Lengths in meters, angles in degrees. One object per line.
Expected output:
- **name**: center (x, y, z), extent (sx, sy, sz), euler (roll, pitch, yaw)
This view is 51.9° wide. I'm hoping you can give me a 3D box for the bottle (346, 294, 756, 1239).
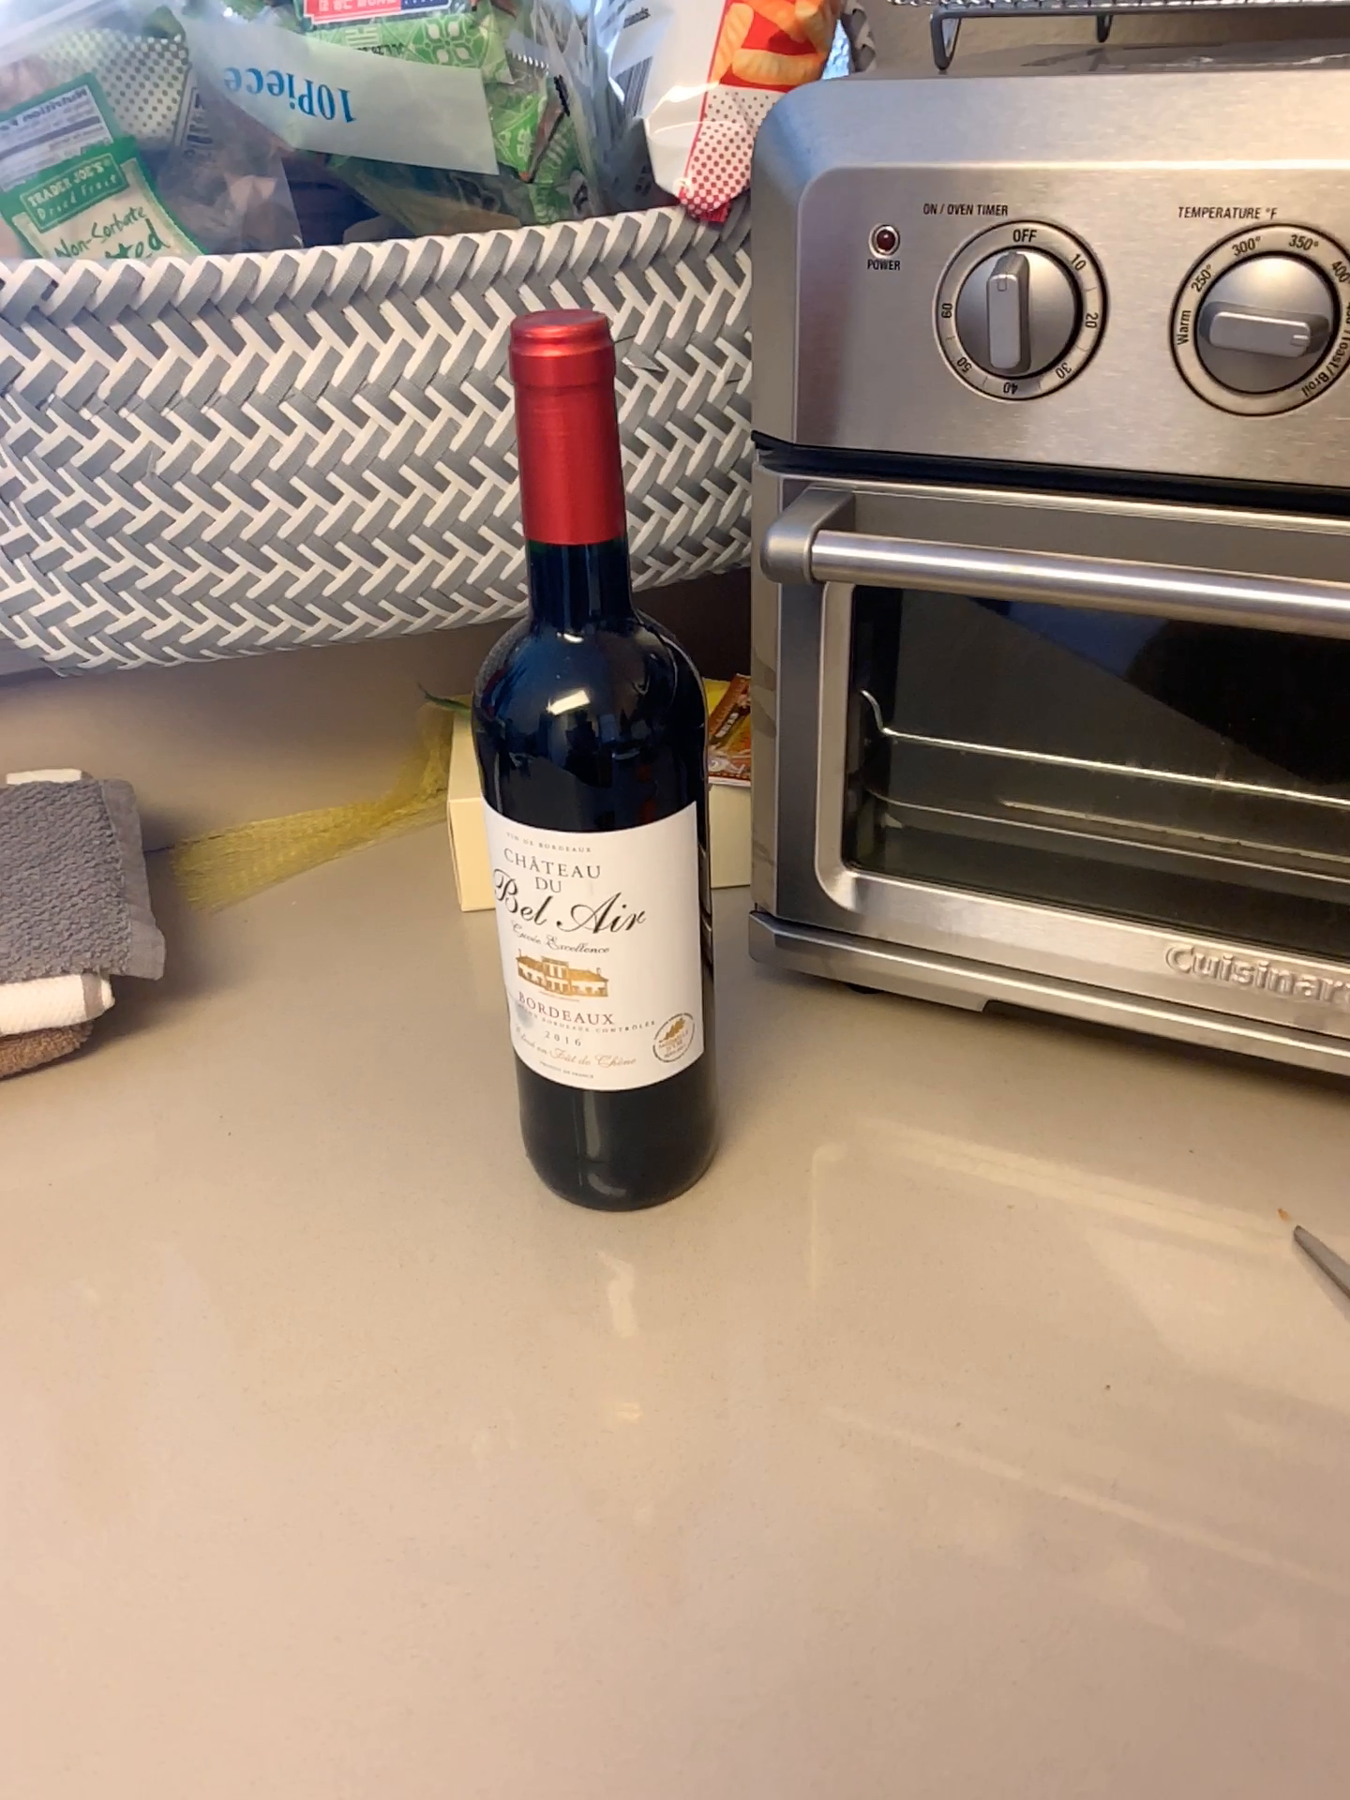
- **bottle**: center (-0.026, -0.033, 0.447), extent (0.080, 0.288, 0.080), euler (-2, 31, 1)
